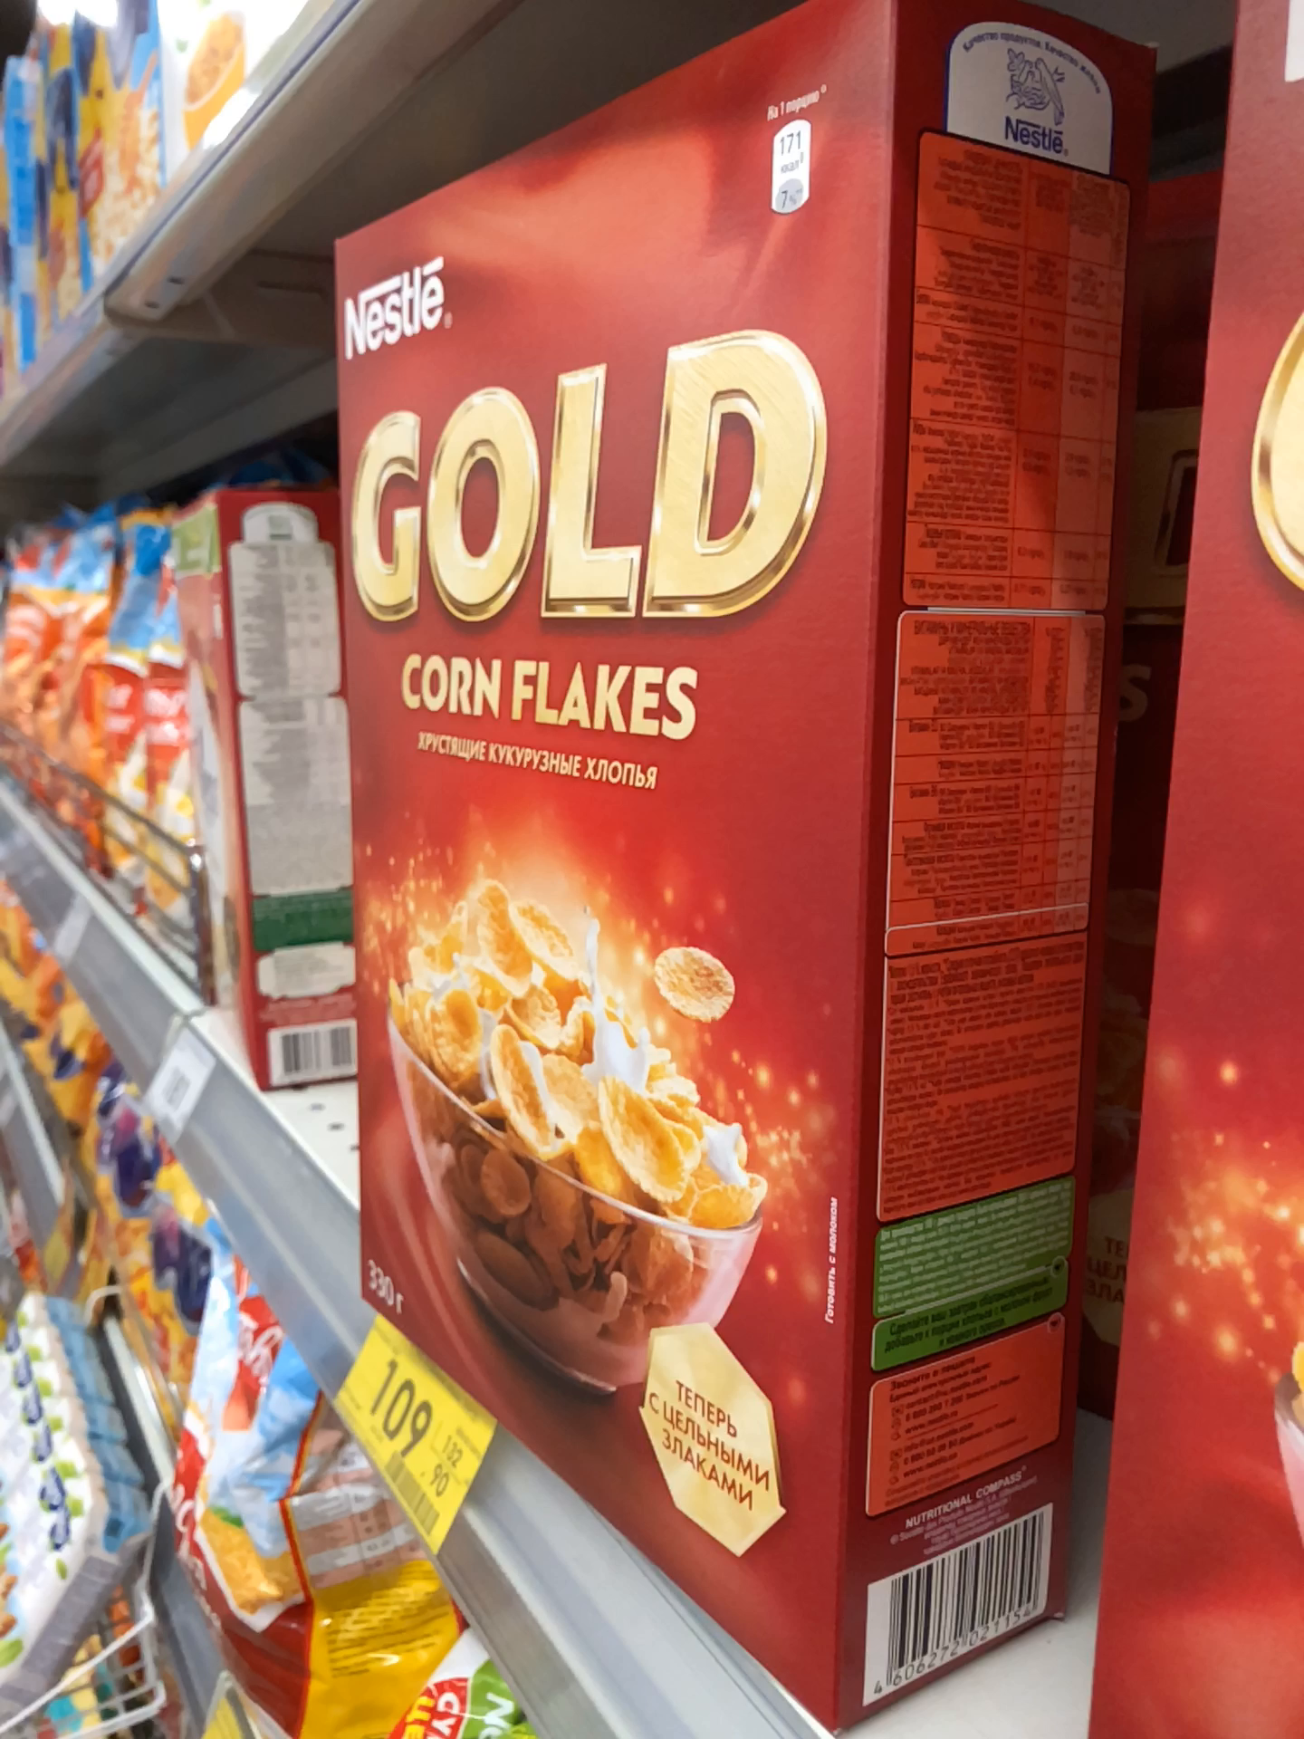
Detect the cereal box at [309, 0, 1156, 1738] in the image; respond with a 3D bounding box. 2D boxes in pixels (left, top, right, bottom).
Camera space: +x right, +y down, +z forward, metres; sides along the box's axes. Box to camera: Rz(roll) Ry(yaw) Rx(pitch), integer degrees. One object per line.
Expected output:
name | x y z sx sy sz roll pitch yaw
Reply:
cereal box | -0.003 -0.010 0.311 0.060 0.279 0.200 -6 11 -34
